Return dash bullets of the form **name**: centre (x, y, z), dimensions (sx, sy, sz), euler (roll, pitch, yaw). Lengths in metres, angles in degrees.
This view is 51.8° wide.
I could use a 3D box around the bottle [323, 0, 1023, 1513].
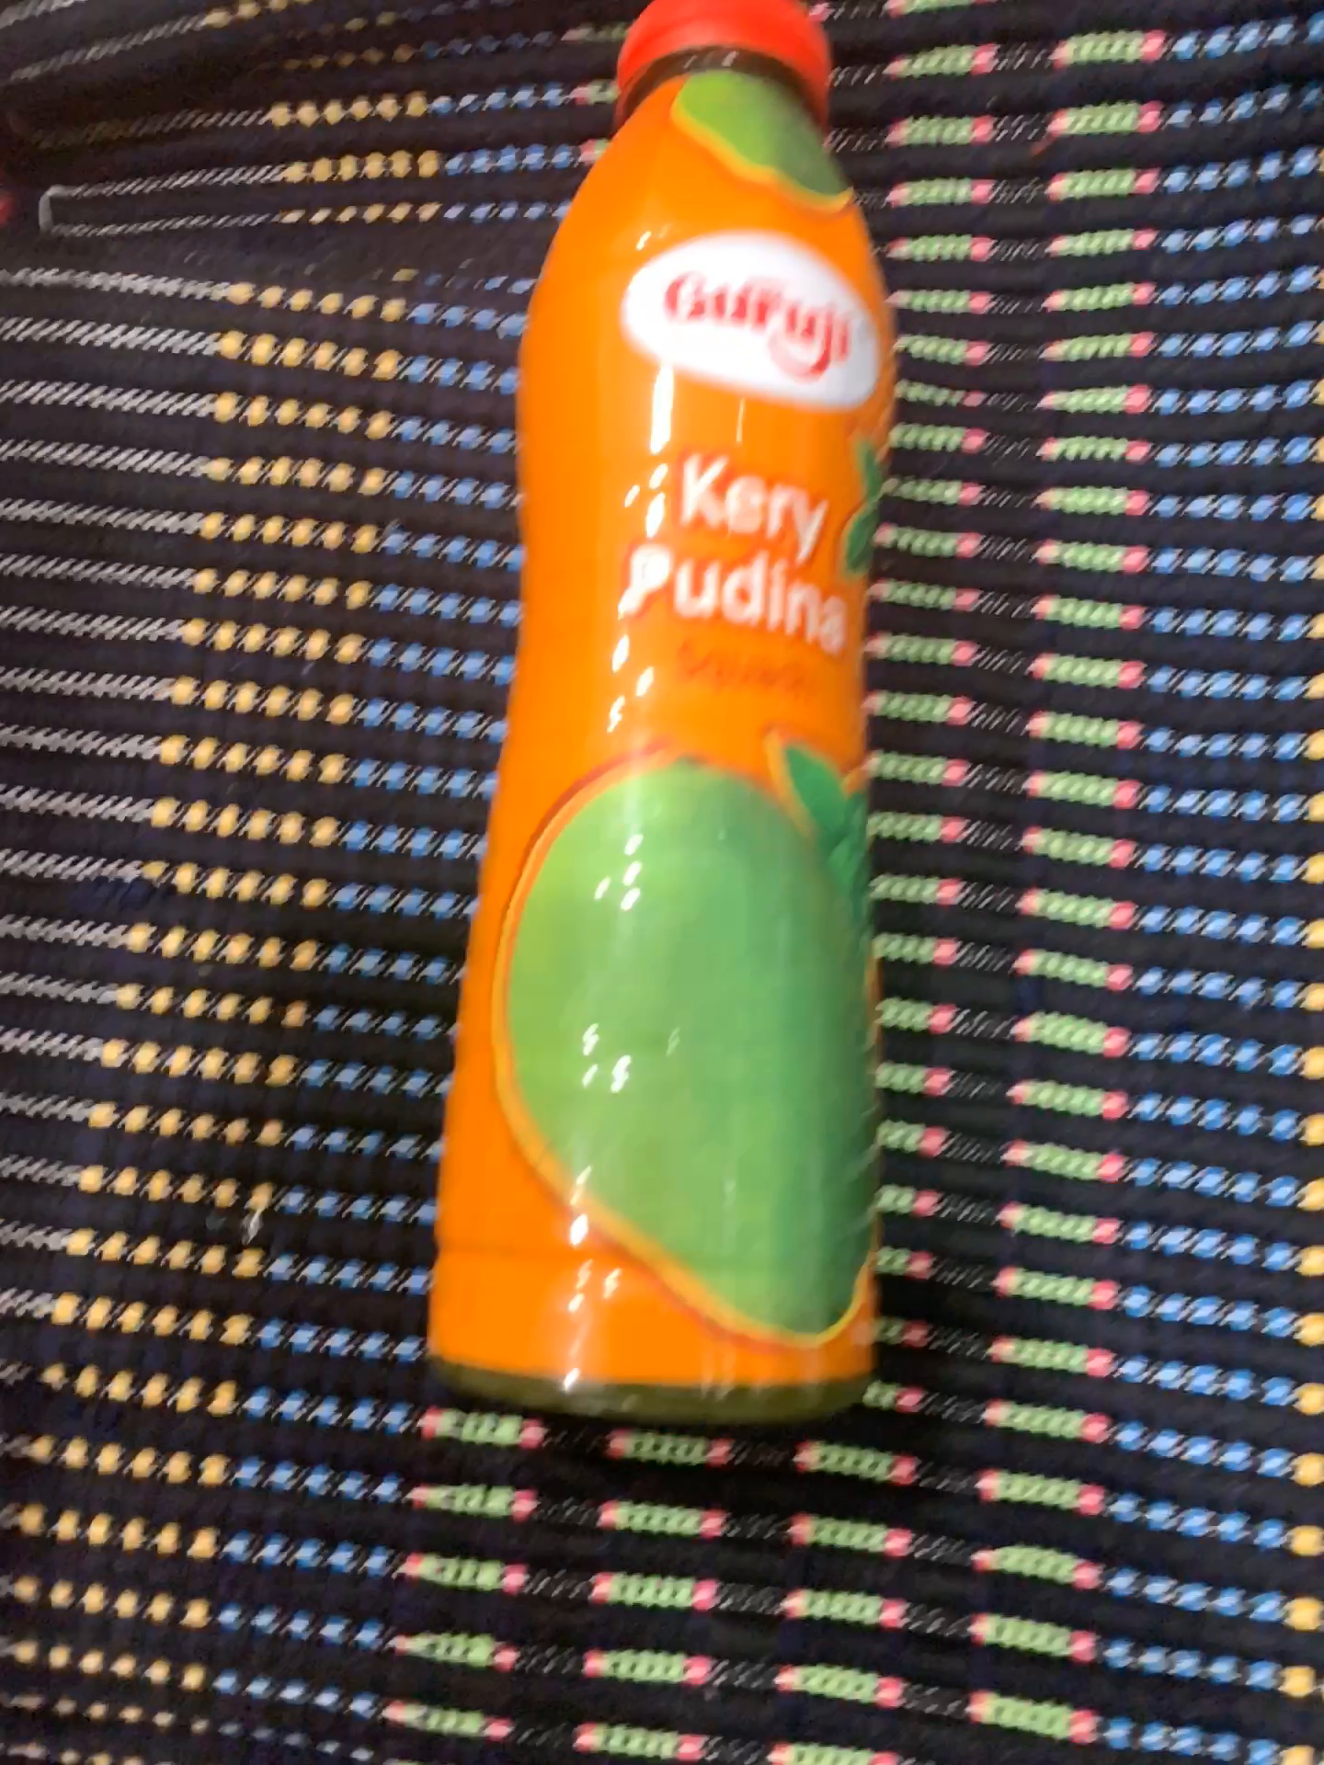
- **bottle**: centre (0.008, -0.031, 0.224), dimensions (0.070, 0.070, 0.230), euler (16, 73, -42)
